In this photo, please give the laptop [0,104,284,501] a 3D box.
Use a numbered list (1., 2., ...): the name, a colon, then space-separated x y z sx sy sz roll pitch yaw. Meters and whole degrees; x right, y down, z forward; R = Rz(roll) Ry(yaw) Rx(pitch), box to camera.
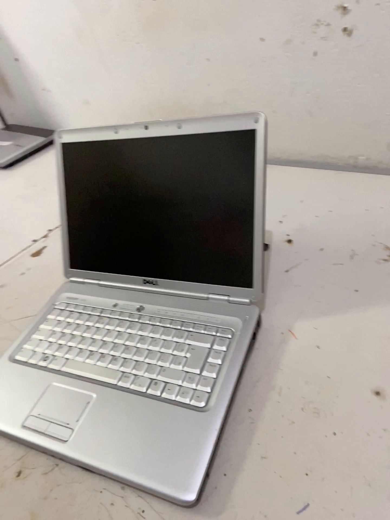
1. laptop: -0.110 0.004 0.509 0.349 0.208 0.379 5 44 26
